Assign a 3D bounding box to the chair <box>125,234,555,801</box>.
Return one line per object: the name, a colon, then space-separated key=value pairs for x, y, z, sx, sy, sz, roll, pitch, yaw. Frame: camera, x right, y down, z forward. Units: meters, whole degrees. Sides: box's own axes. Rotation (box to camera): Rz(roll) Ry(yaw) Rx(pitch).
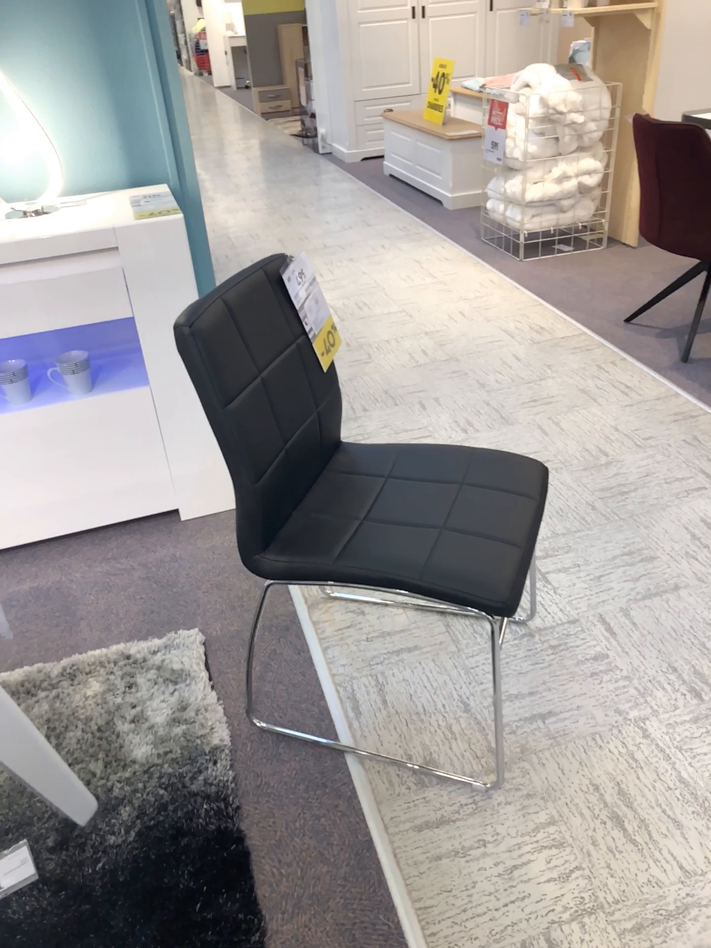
chair: x=0.045 y=0.051 z=1.406 sx=0.535 sy=0.825 sz=0.523 roll=5 pitch=32 yaw=16
